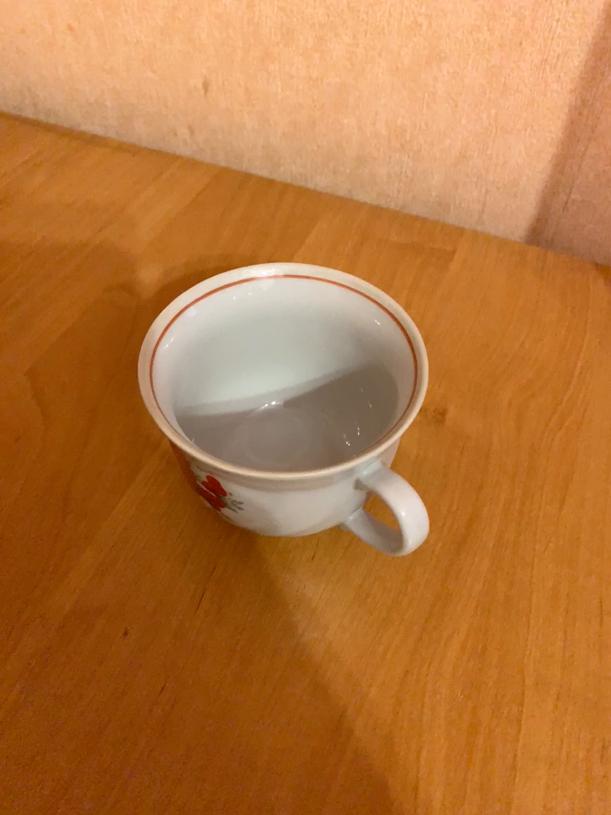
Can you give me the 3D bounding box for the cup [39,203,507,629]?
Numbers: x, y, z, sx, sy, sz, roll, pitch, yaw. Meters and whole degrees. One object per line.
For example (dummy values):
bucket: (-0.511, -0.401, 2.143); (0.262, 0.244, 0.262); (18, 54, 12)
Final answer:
cup: (-0.010, -0.004, 0.207); (0.109, 0.056, 0.083); (31, 56, 22)
